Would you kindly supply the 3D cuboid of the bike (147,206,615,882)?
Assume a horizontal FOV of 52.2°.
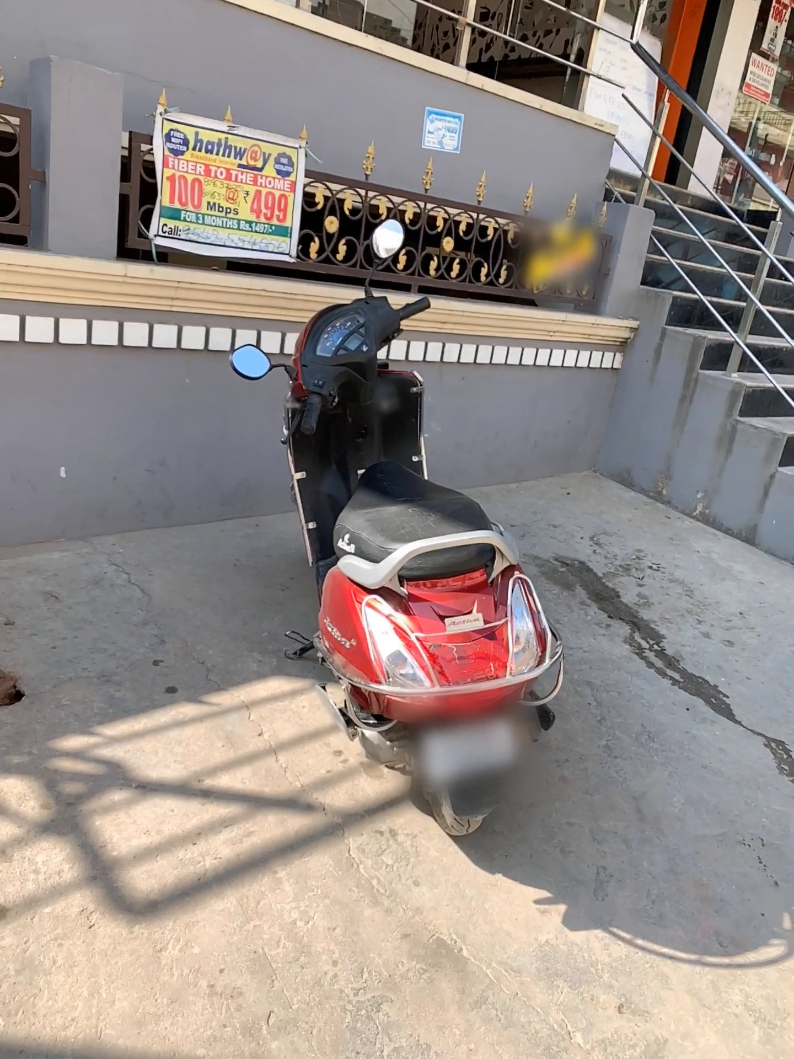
[{"bbox_3d":[-0.282,-0.175,2.349,0.622,1.165,1.762,1,24,-23],"label":"bike"}]
